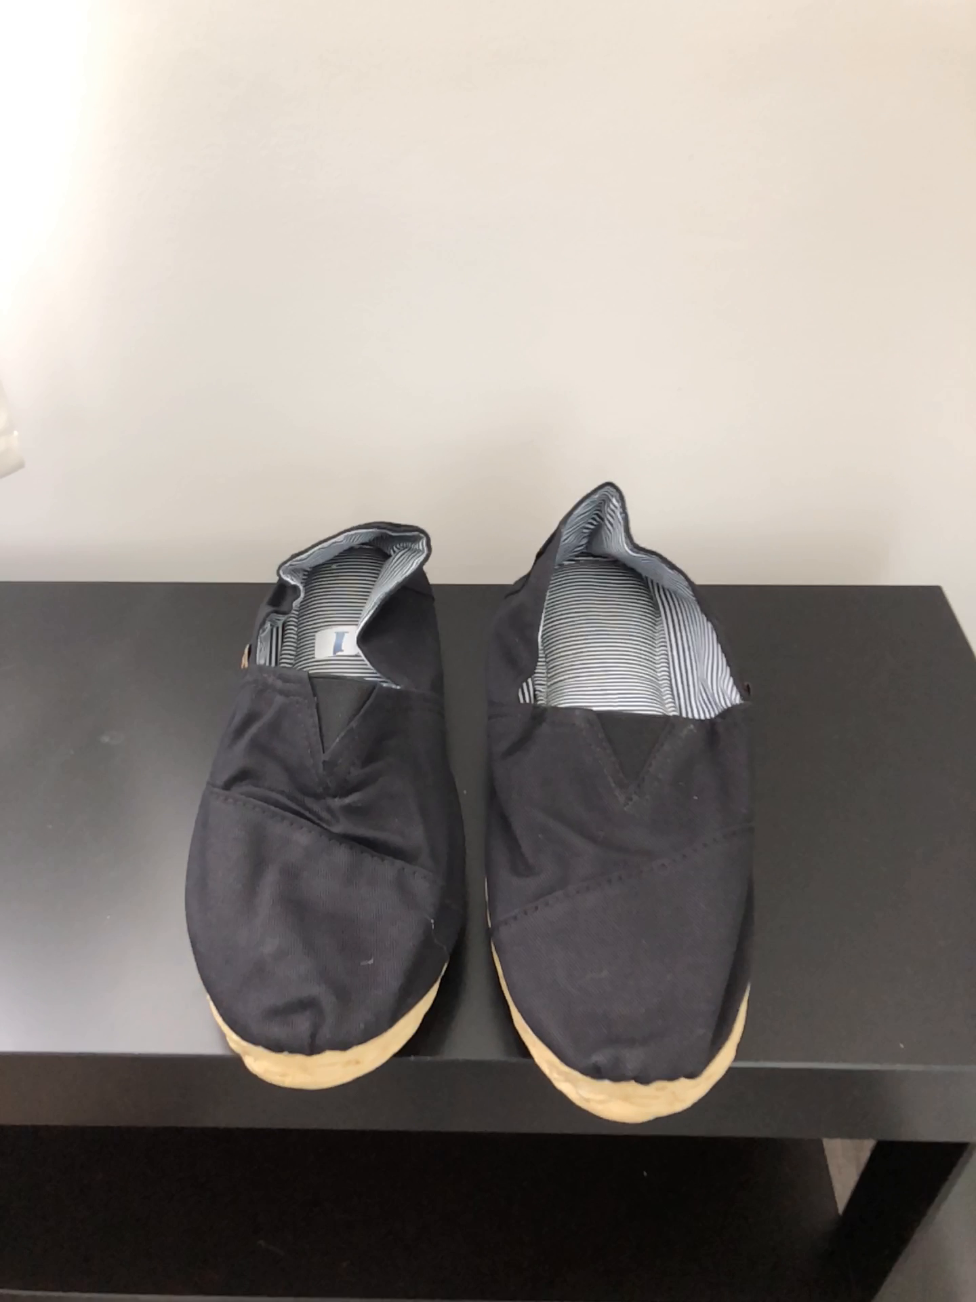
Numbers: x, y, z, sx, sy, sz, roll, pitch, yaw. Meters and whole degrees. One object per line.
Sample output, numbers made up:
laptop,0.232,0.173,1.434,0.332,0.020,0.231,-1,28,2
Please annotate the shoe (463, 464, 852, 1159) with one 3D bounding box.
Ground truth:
shoe,0.044,0.036,0.408,0.101,0.080,0.275,0,41,0

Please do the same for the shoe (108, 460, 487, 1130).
shoe,-0.052,0.032,0.419,0.101,0.080,0.275,0,41,0
